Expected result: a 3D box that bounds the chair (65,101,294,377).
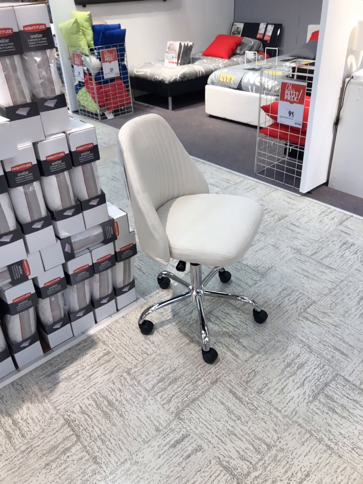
[{"bbox_3d":[0.074,-0.064,1.568,0.629,0.785,0.705,5,33,13],"label":"chair"}]
